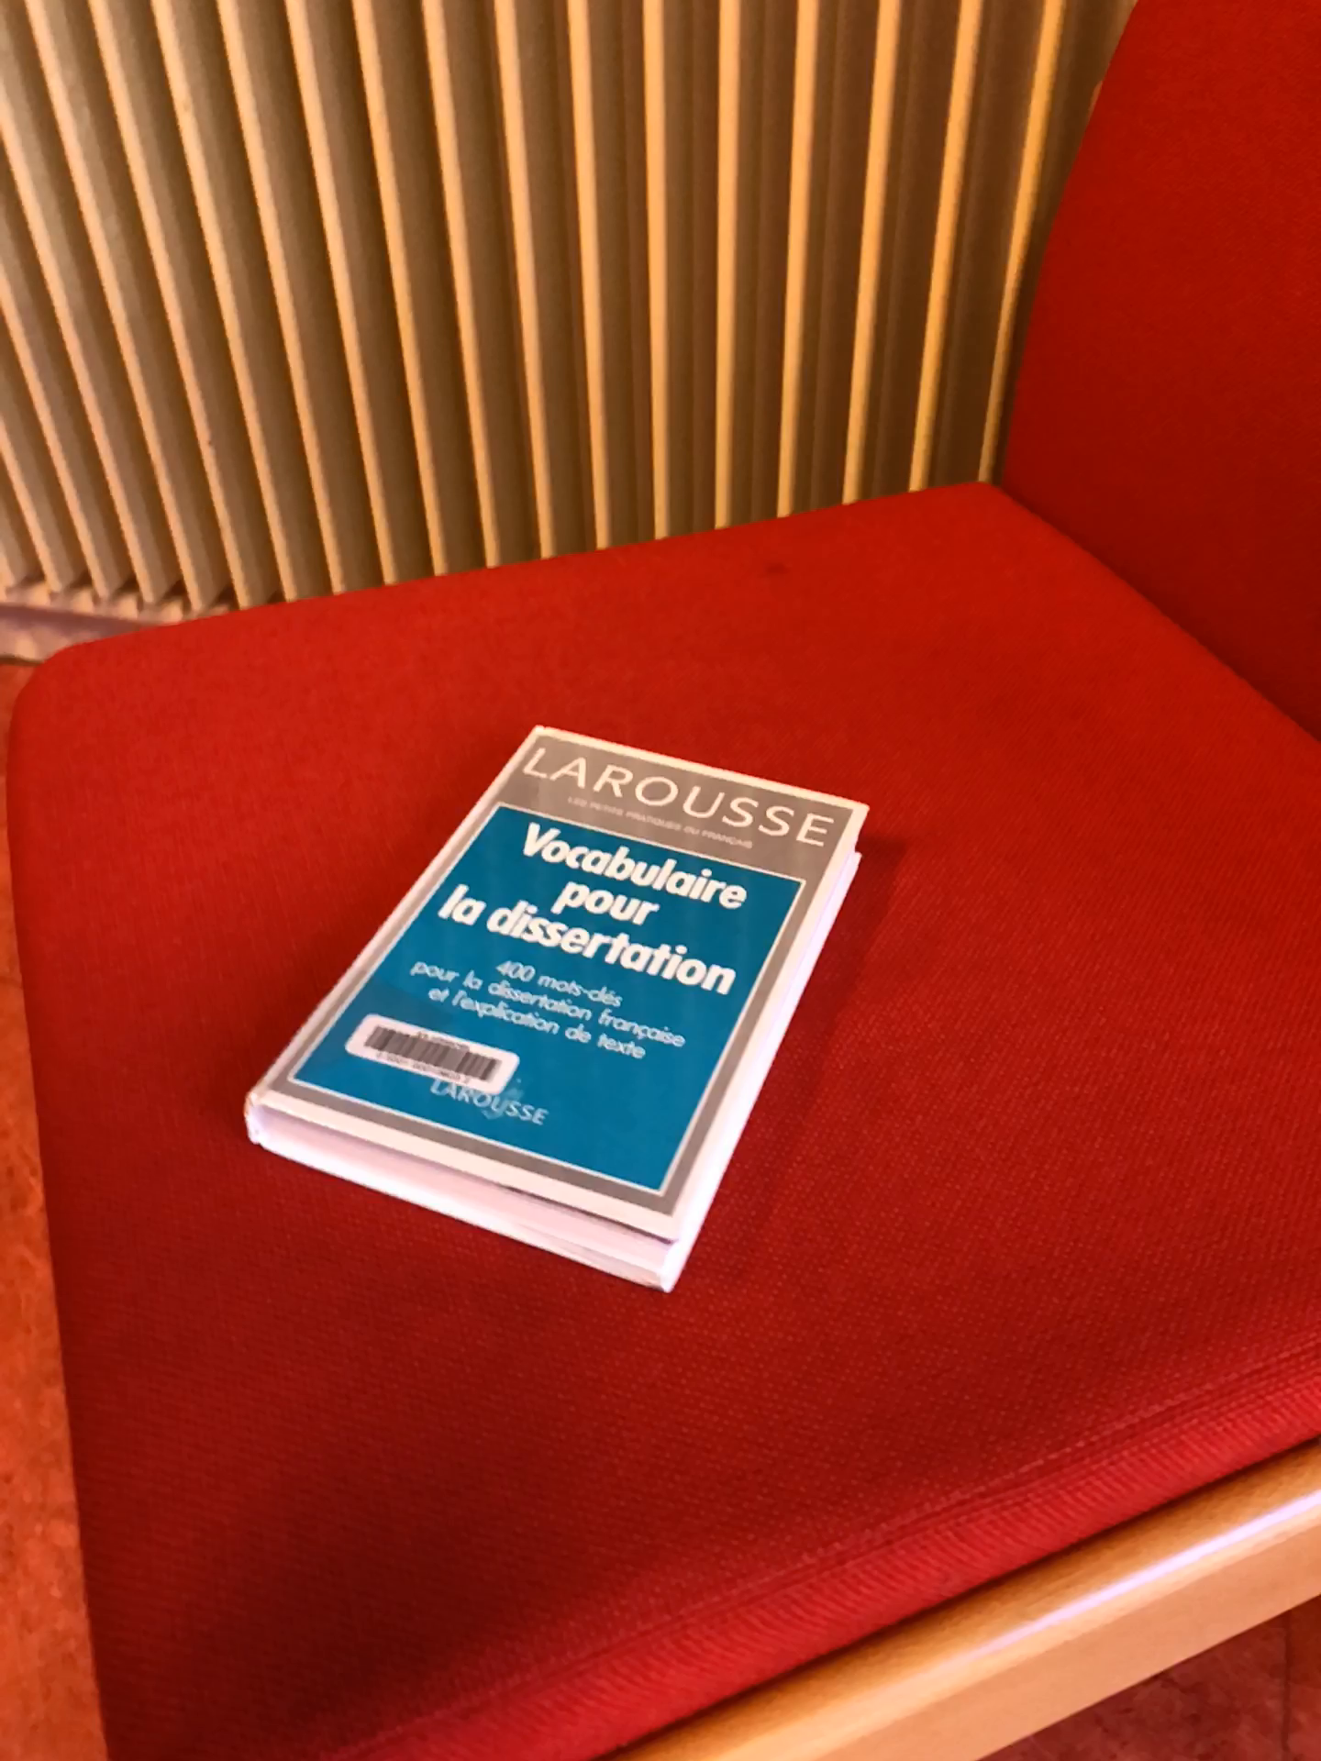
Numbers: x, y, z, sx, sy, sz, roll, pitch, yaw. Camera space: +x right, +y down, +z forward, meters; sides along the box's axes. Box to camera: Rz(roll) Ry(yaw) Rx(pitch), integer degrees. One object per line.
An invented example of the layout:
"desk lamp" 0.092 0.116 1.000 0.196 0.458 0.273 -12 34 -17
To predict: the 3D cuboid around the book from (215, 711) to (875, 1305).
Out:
"book" -0.025 0.025 0.466 0.137 0.030 0.199 14 43 16
